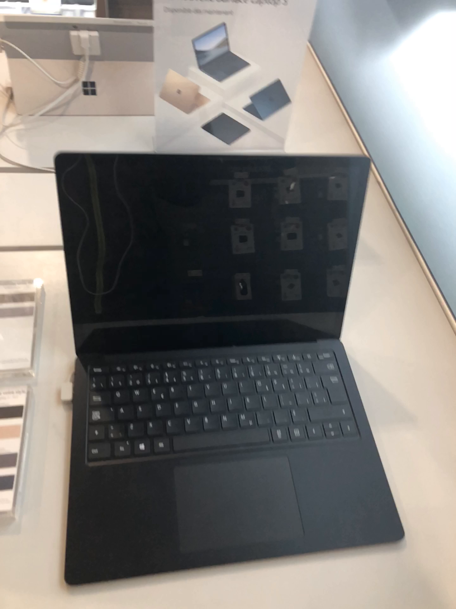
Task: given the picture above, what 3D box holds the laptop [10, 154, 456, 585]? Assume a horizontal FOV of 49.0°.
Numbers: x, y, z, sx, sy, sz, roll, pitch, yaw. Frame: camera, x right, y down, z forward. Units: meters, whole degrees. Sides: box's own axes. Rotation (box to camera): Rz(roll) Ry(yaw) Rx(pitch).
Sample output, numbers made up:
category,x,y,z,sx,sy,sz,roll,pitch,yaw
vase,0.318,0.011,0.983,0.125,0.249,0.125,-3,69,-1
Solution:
category,x,y,z,sx,sy,sz,roll,pitch,yaw
laptop,0.004,0.040,0.463,0.308,0.198,0.314,-3,52,-11
